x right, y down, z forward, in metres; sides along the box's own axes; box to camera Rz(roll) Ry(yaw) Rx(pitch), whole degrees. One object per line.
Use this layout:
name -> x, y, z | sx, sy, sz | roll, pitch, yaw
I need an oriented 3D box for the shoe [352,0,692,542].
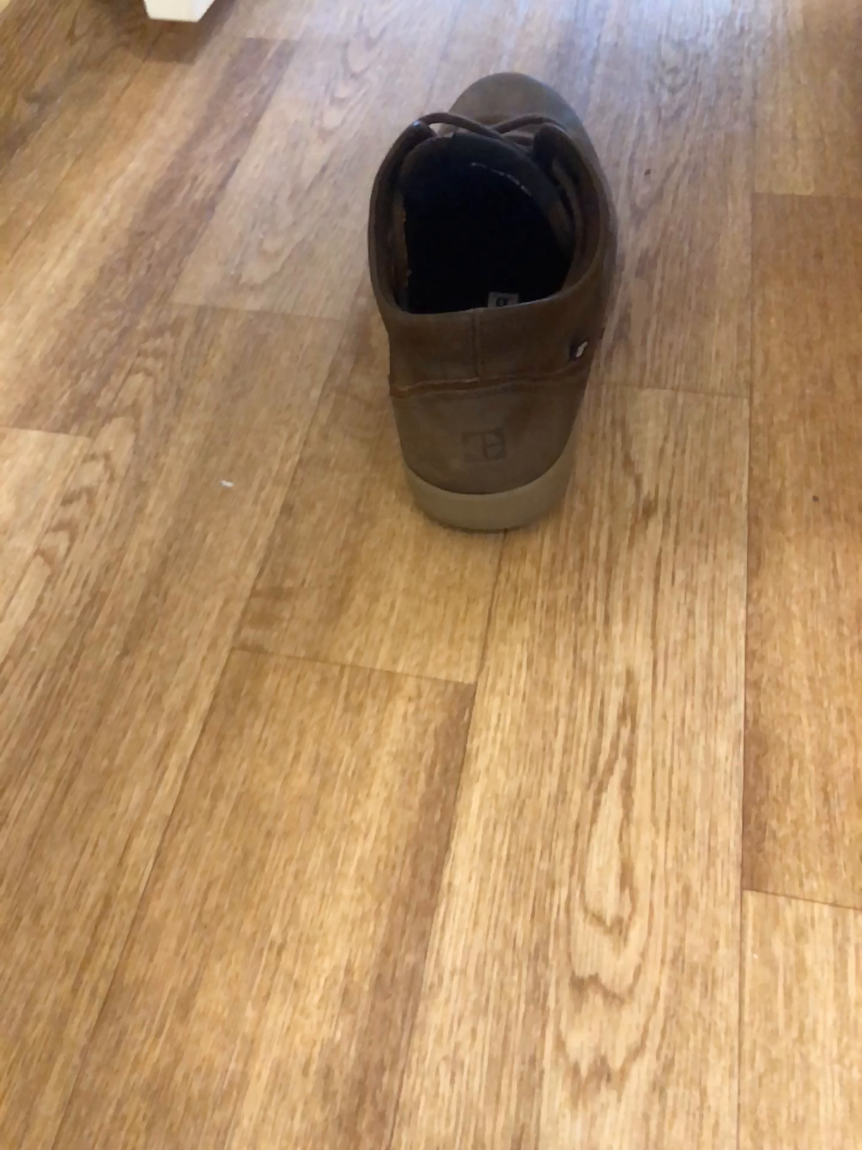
shoe -> 0.042, -0.158, 0.404 | 0.100, 0.110, 0.271 | 4, 56, 5
